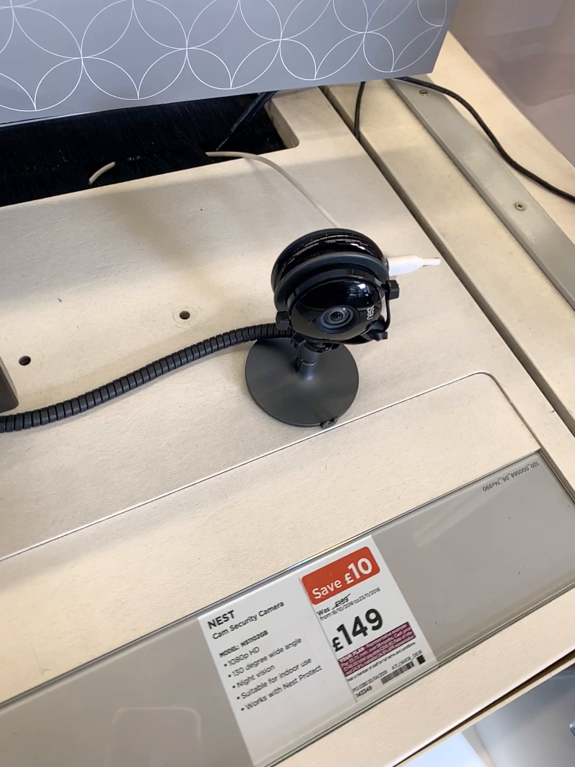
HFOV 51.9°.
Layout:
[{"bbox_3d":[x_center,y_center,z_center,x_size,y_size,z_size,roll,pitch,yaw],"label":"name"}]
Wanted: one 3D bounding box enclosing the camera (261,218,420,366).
[{"bbox_3d":[0.022,-0.044,0.288,0.060,0.050,0.050,-2,60,-11],"label":"camera"}]
